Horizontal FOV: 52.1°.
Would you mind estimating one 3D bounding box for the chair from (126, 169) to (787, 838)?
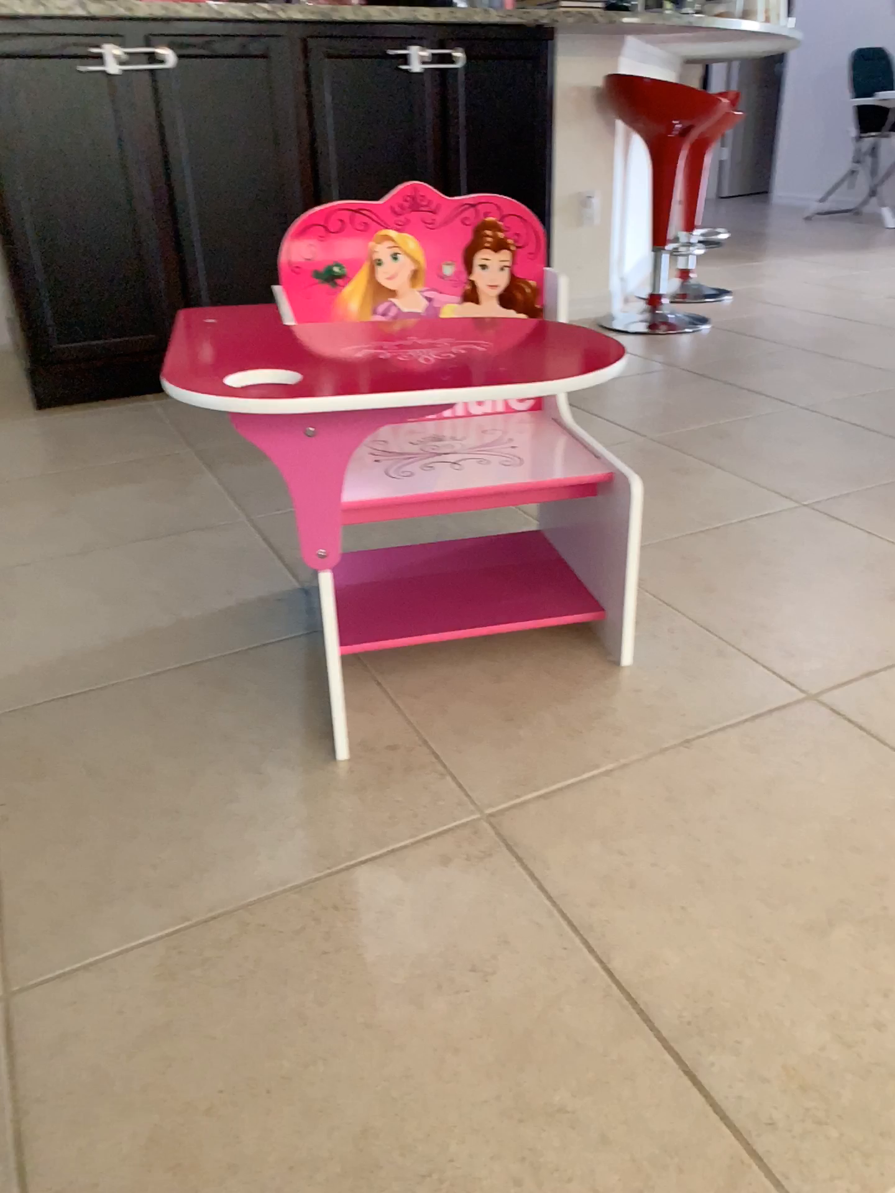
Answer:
[{"bbox_3d":[-0.036,-0.173,1.071,0.532,0.567,0.553,-8,27,-13],"label":"chair"}]
